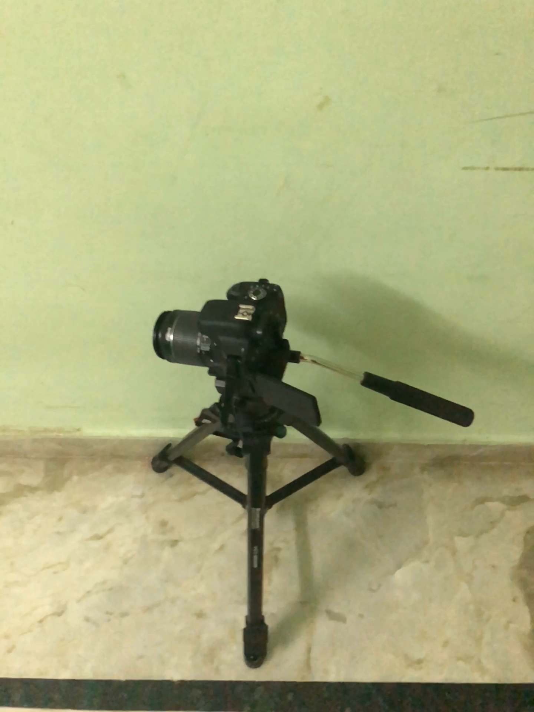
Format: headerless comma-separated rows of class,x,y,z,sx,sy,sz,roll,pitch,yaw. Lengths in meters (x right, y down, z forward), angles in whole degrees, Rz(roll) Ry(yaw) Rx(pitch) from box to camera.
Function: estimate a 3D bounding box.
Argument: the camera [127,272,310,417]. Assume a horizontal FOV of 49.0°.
camera,-0.051,-0.016,0.731,0.190,0.099,0.131,6,55,10
